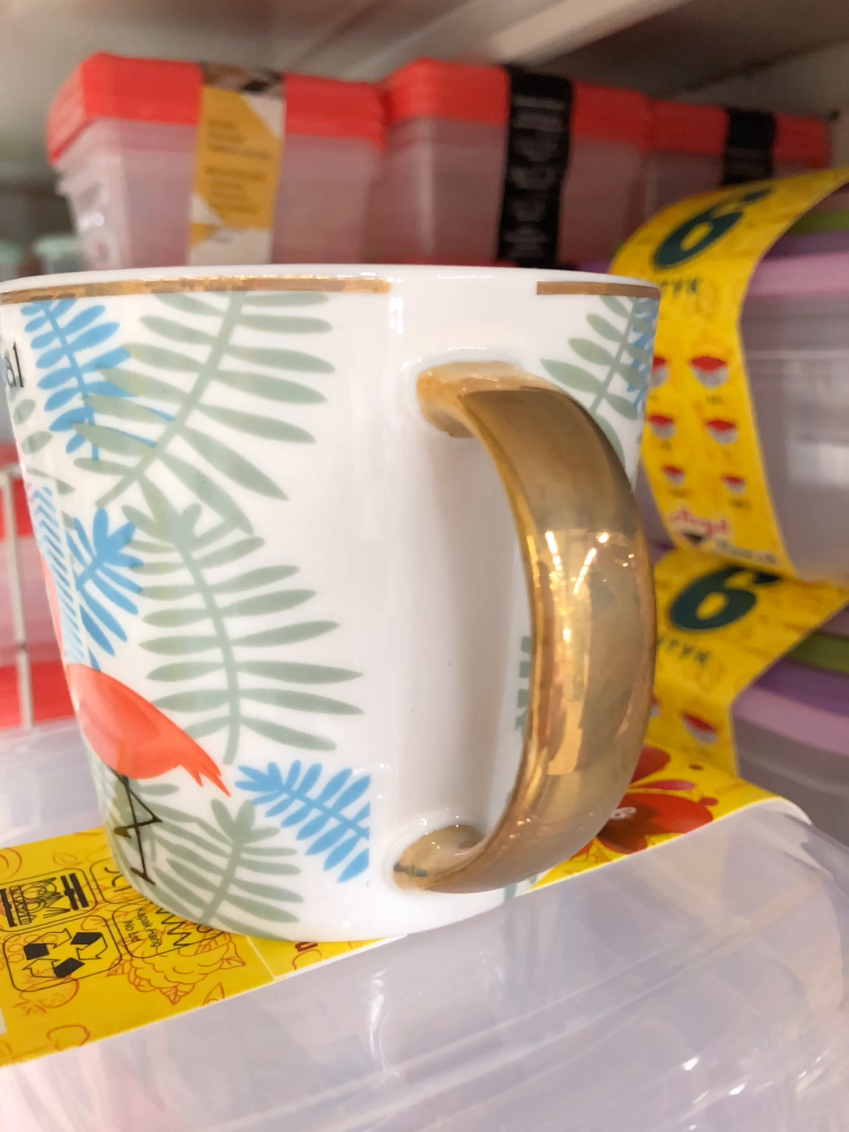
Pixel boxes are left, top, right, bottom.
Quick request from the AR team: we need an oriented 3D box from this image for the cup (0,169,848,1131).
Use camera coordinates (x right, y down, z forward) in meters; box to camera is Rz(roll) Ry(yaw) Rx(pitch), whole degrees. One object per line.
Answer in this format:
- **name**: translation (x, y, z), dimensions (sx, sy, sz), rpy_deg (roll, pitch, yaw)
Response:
- **cup**: translation (-0.009, -0.004, 0.156), dimensions (0.102, 0.085, 0.128), rpy_deg (-11, 16, -40)
